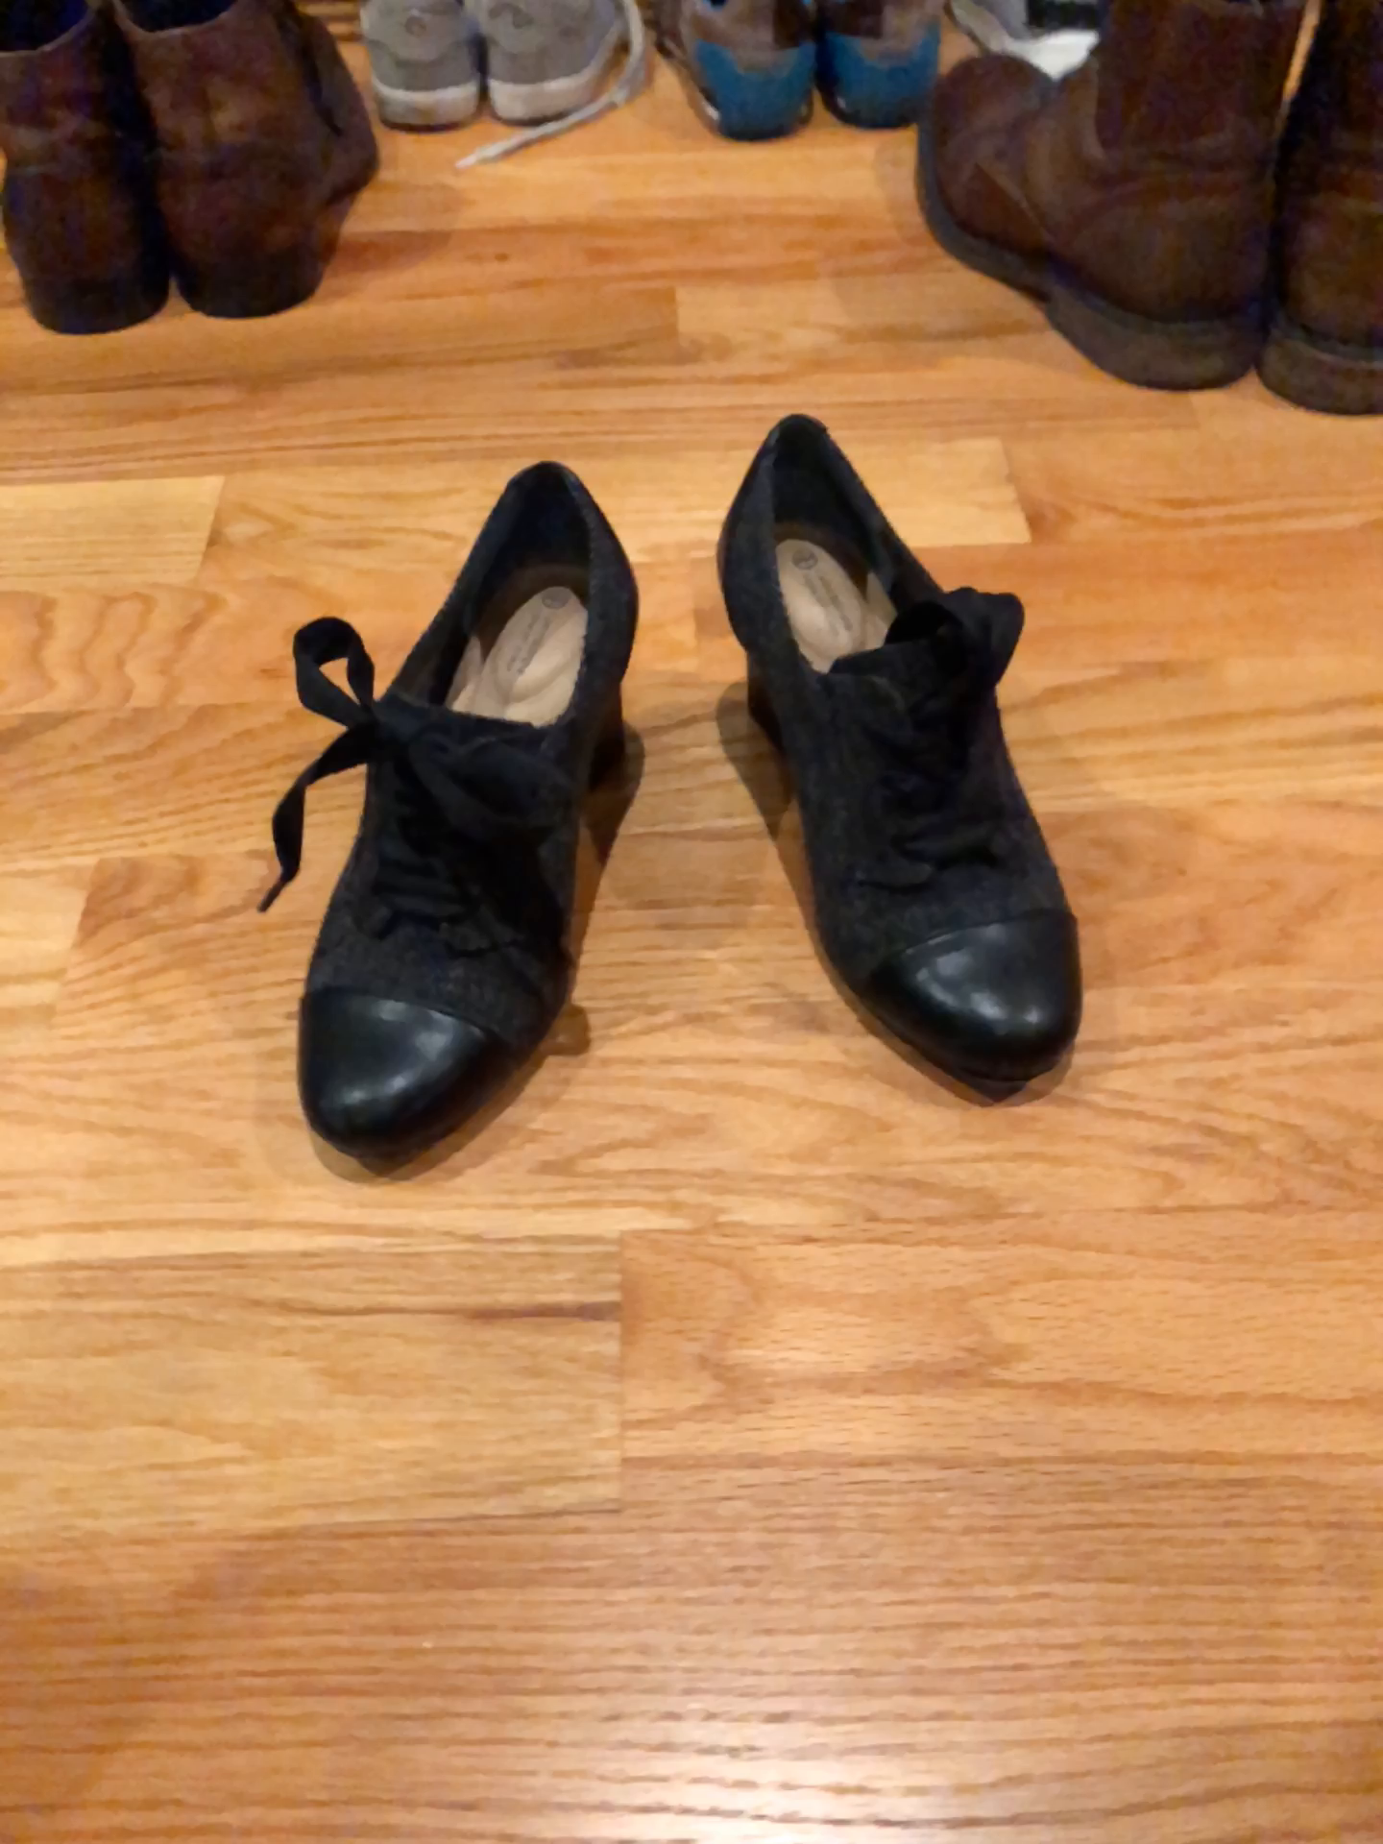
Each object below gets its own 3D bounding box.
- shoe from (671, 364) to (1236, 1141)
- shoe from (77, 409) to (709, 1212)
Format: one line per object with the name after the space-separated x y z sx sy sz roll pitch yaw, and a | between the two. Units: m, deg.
0.068 -0.064 0.503 0.088 0.125 0.224 -14 50 -9 | shoe
-0.075 -0.045 0.492 0.093 0.125 0.224 13 51 13 | shoe
